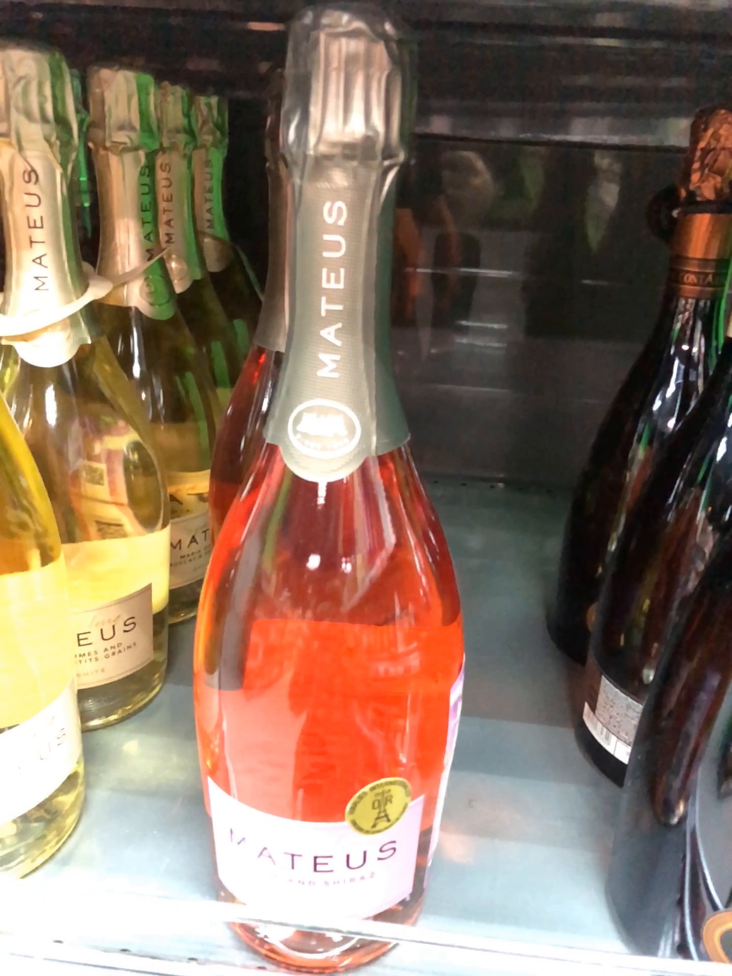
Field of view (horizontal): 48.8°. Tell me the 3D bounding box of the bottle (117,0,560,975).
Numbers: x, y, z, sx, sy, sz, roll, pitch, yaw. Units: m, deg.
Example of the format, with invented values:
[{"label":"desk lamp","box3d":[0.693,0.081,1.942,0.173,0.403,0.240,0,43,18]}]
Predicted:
[{"label":"bottle","box3d":[-0.011,0.014,0.277,0.100,0.318,0.090,5,20,4]}]
